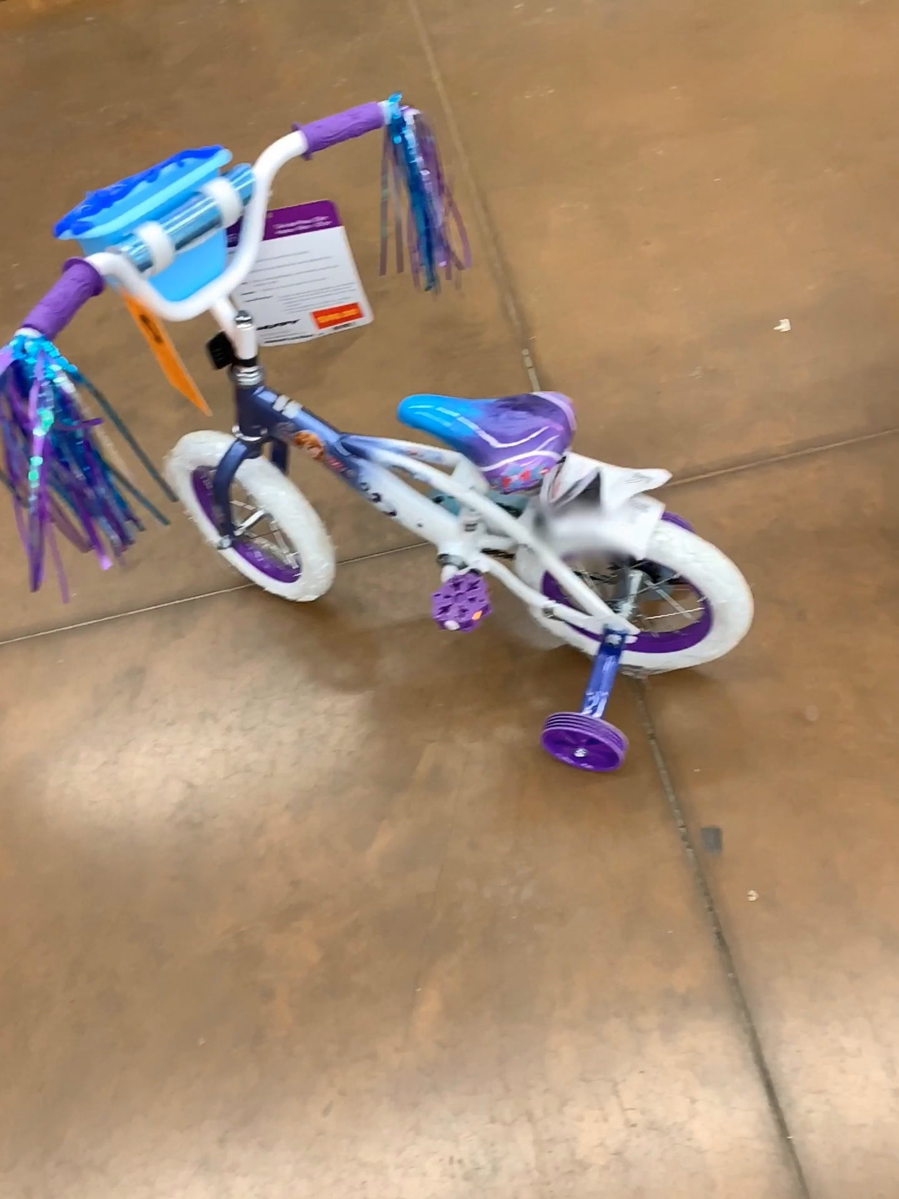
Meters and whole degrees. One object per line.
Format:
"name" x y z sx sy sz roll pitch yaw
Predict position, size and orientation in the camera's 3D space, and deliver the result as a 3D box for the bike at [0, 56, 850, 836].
"bike" -0.006 -0.131 1.011 0.652 0.643 0.473 9 58 17
